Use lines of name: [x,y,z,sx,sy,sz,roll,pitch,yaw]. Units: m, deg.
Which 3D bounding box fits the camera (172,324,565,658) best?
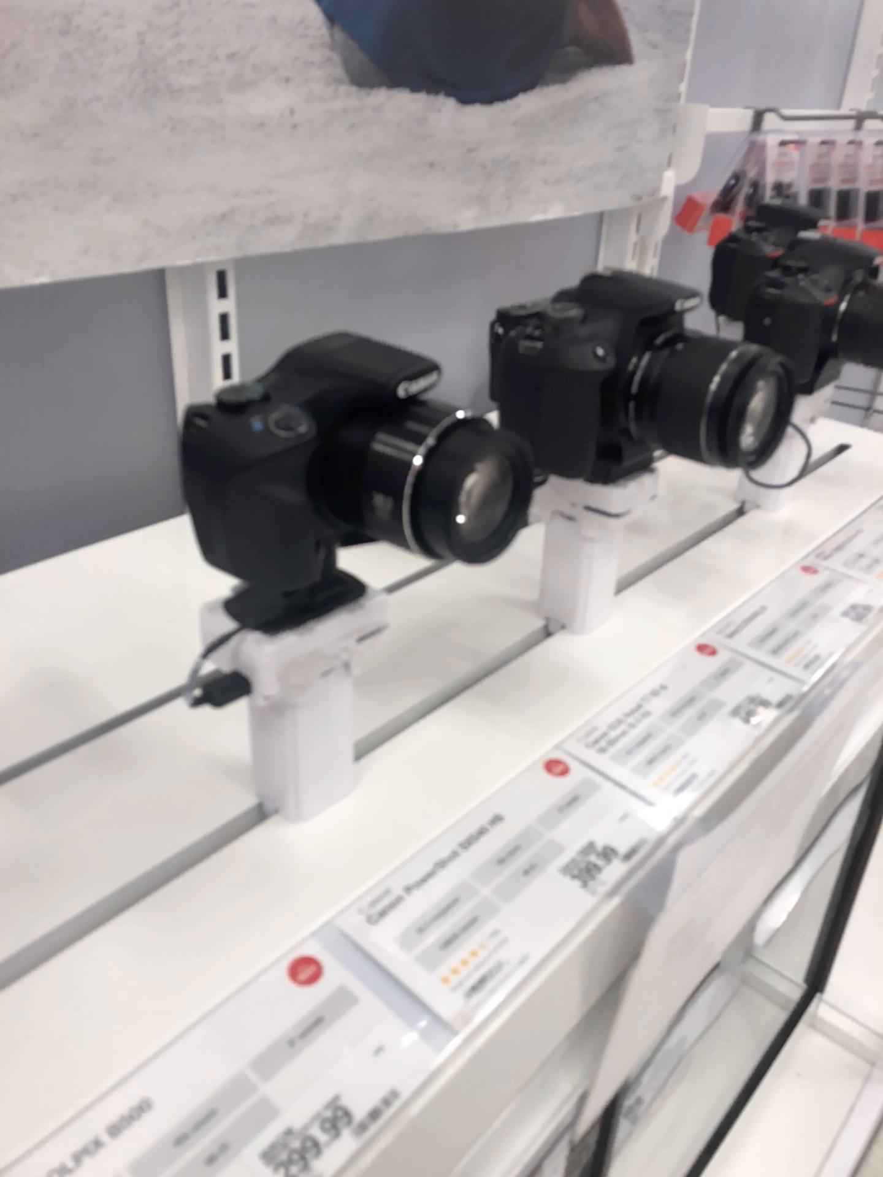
camera: [-0.026,-0.044,0.359,0.099,0.076,0.100,22,34,31]
